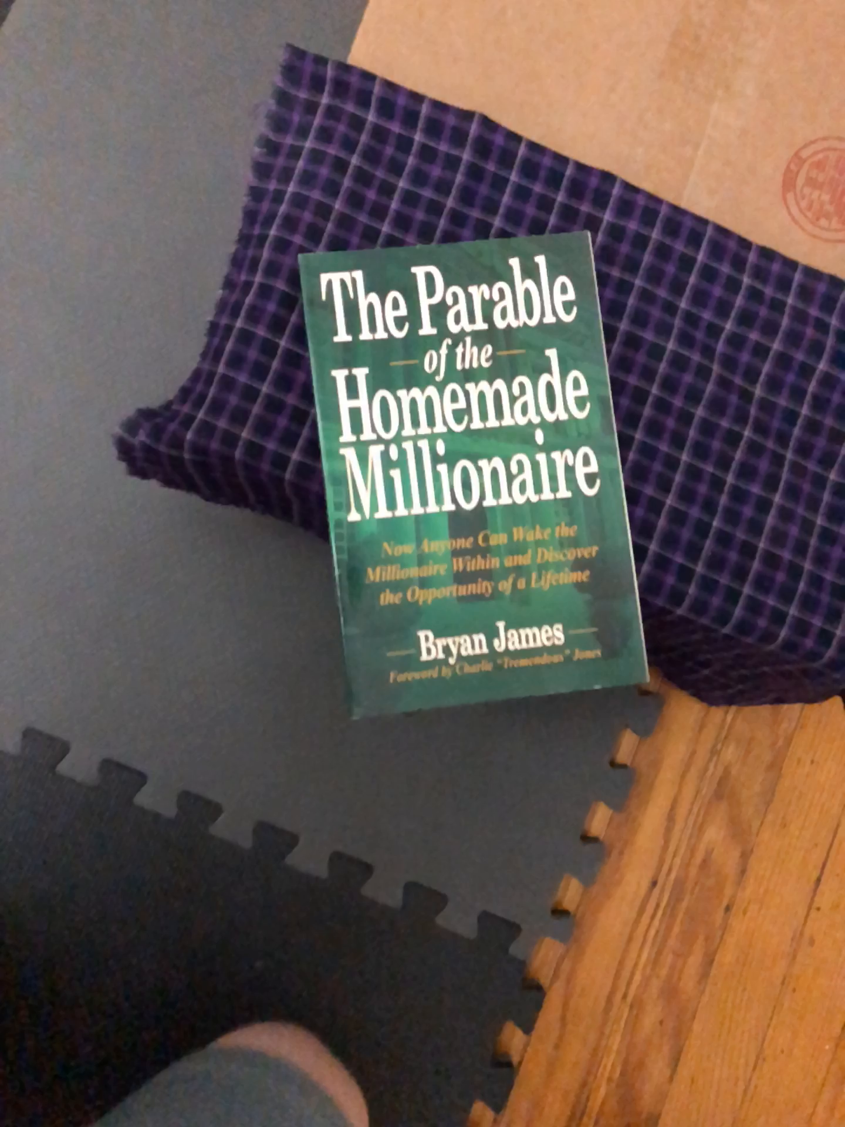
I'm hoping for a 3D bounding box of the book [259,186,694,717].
[{"bbox_3d":[0.023,-0.050,0.400,0.160,0.020,0.210,-7,87,-5],"label":"book"}]
